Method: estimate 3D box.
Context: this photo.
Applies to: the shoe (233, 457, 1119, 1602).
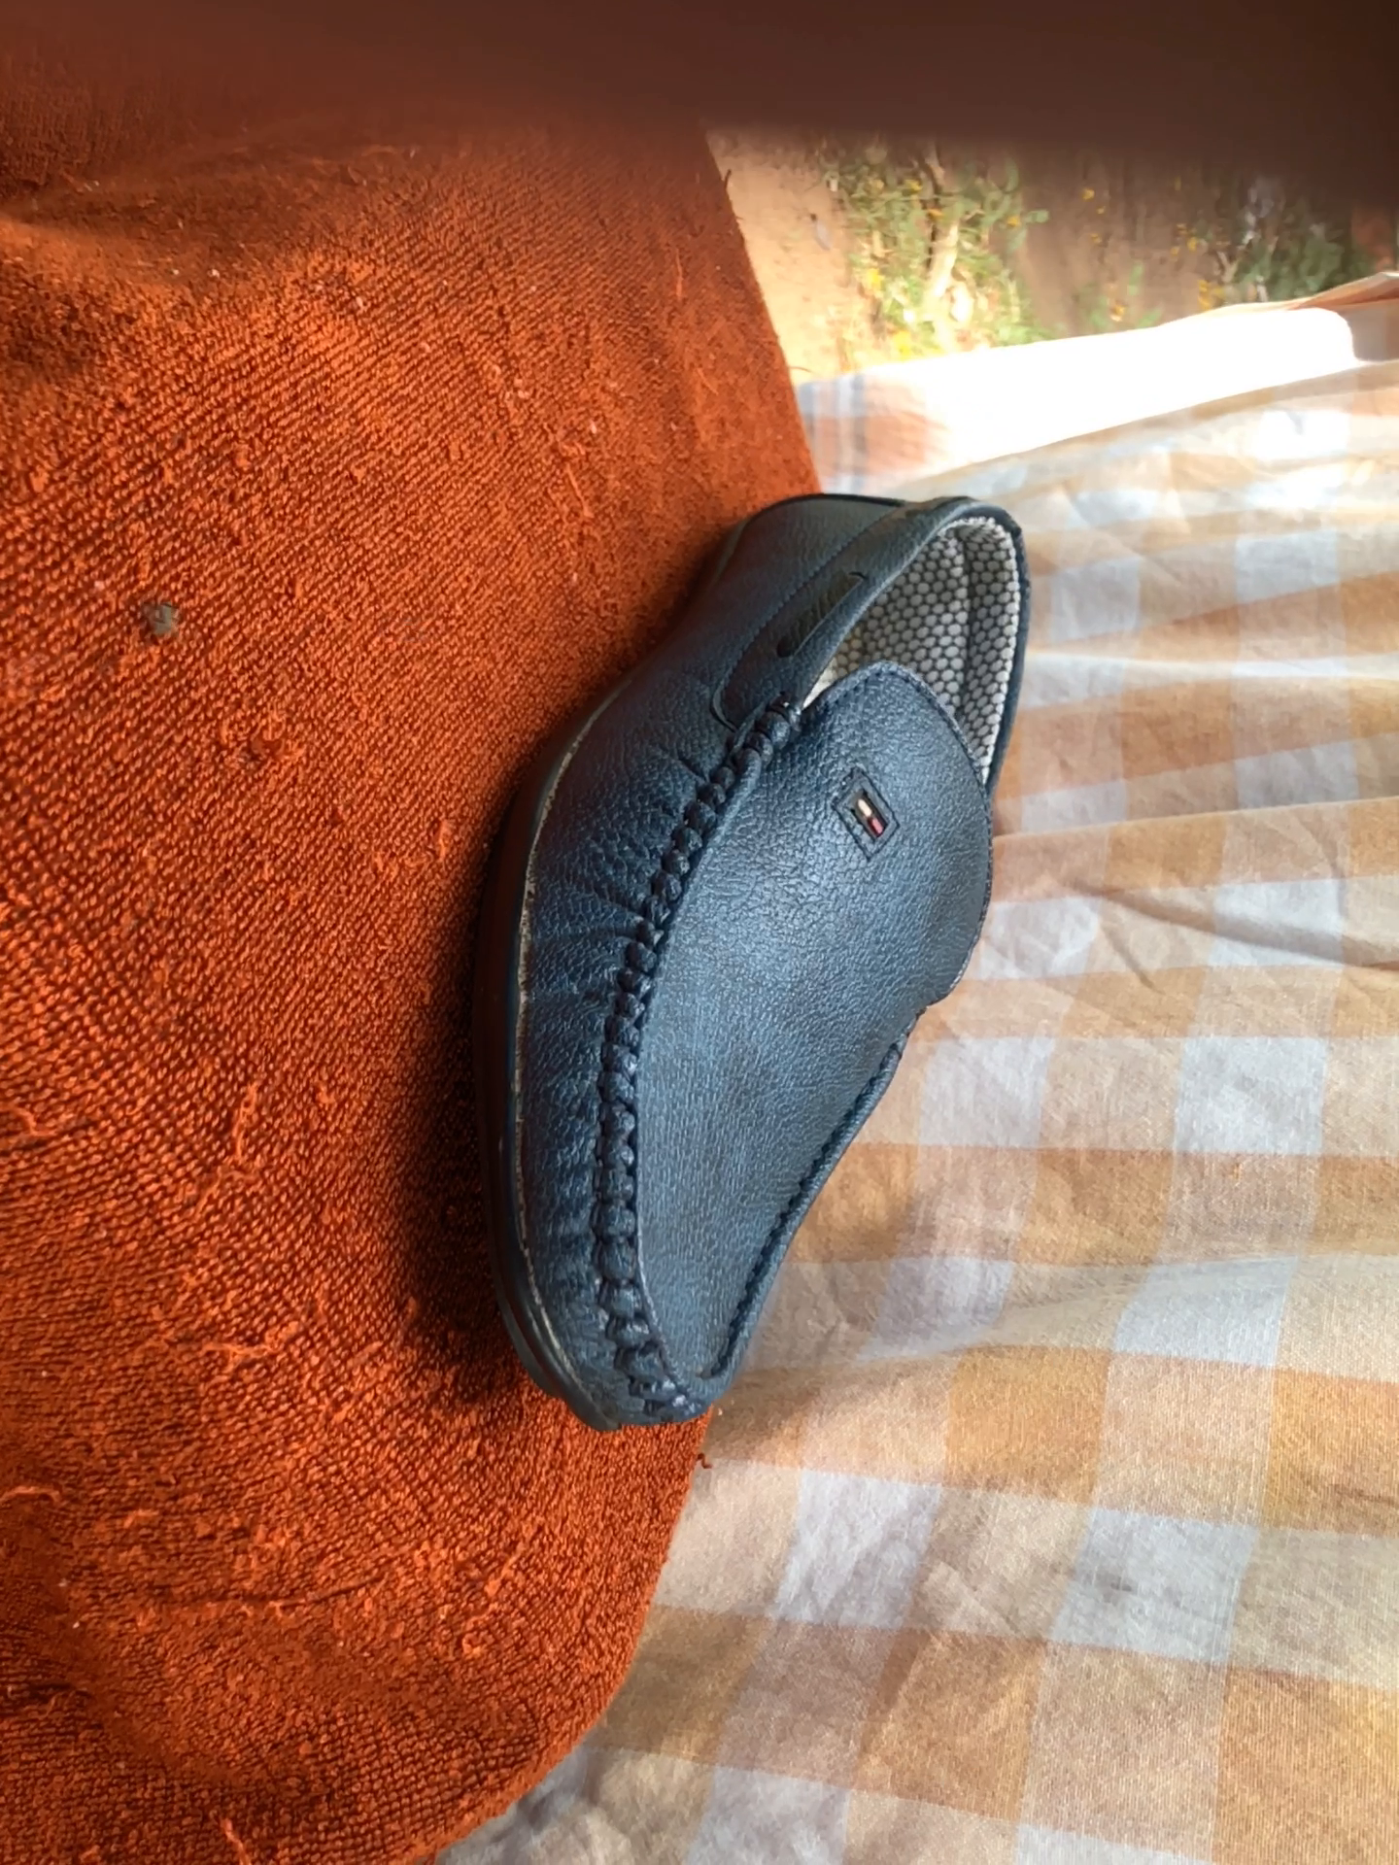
[{"bbox_3d":[0.024,-0.002,0.350,0.100,0.089,0.261,68,31,-30],"label":"shoe"}]
